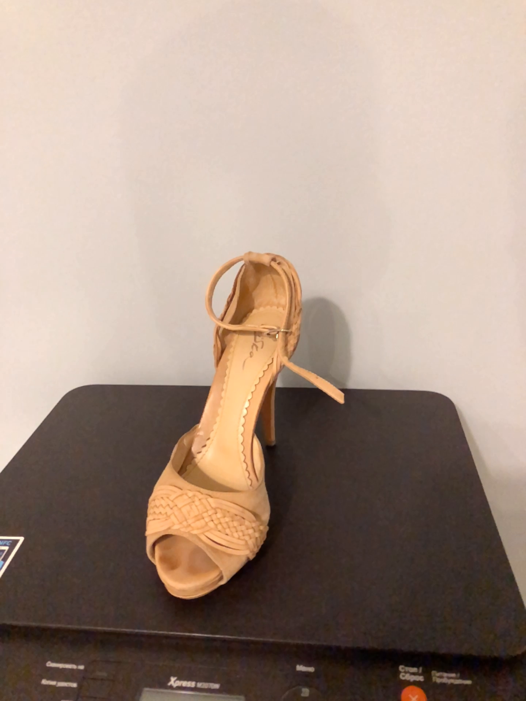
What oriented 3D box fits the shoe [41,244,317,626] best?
[{"bbox_3d":[-0.032,0.036,0.408,0.090,0.159,0.221,6,27,17],"label":"shoe"}]
